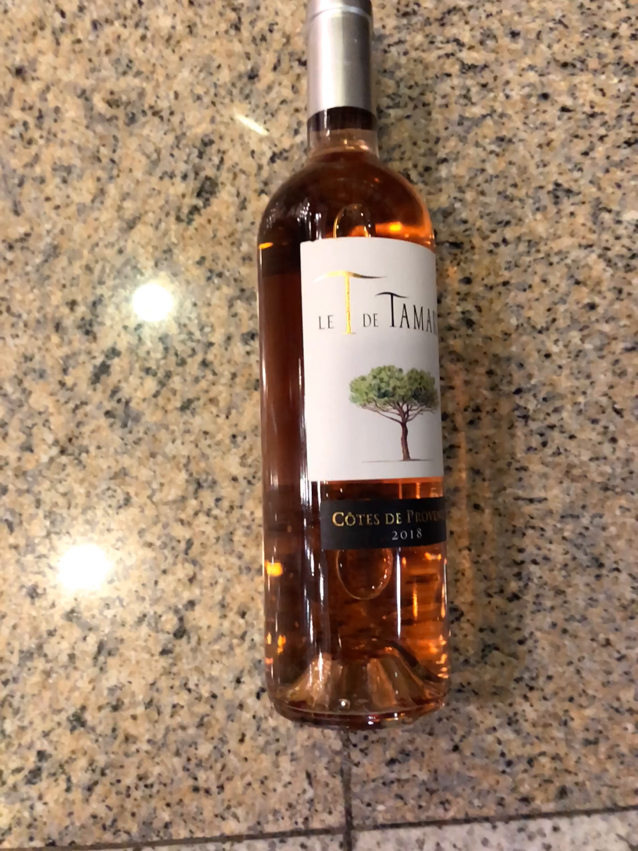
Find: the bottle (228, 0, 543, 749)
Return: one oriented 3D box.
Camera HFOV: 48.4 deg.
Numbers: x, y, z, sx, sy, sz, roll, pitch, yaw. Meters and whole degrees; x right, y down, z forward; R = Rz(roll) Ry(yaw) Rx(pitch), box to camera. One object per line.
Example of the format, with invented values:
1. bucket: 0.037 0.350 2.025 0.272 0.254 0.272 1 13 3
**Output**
1. bottle: 0.018 -0.060 0.269 0.090 0.080 0.320 -2 86 -3
